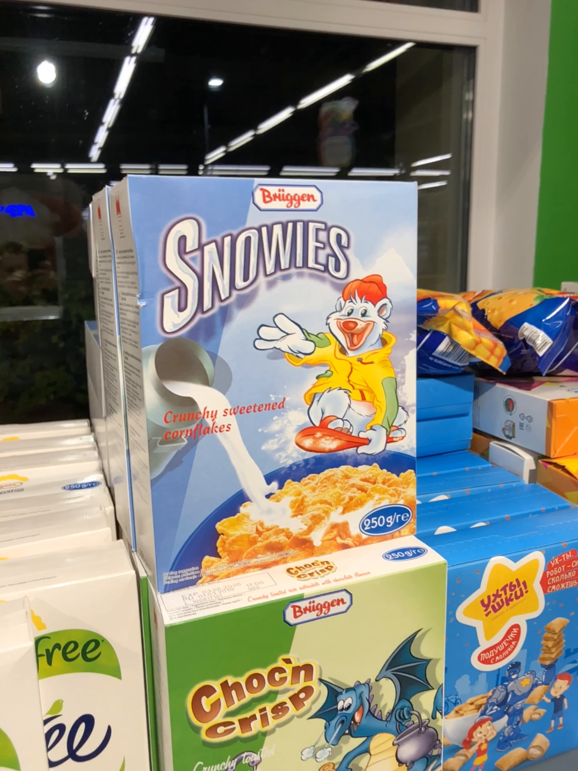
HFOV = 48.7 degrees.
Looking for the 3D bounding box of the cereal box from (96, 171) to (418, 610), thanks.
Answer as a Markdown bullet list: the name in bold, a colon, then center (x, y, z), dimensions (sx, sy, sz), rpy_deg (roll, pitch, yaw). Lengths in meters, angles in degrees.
- **cereal box**: center (-0.015, -0.006, 0.442), dimensions (0.200, 0.259, 0.070), rpy_deg (-6, 11, -23)
